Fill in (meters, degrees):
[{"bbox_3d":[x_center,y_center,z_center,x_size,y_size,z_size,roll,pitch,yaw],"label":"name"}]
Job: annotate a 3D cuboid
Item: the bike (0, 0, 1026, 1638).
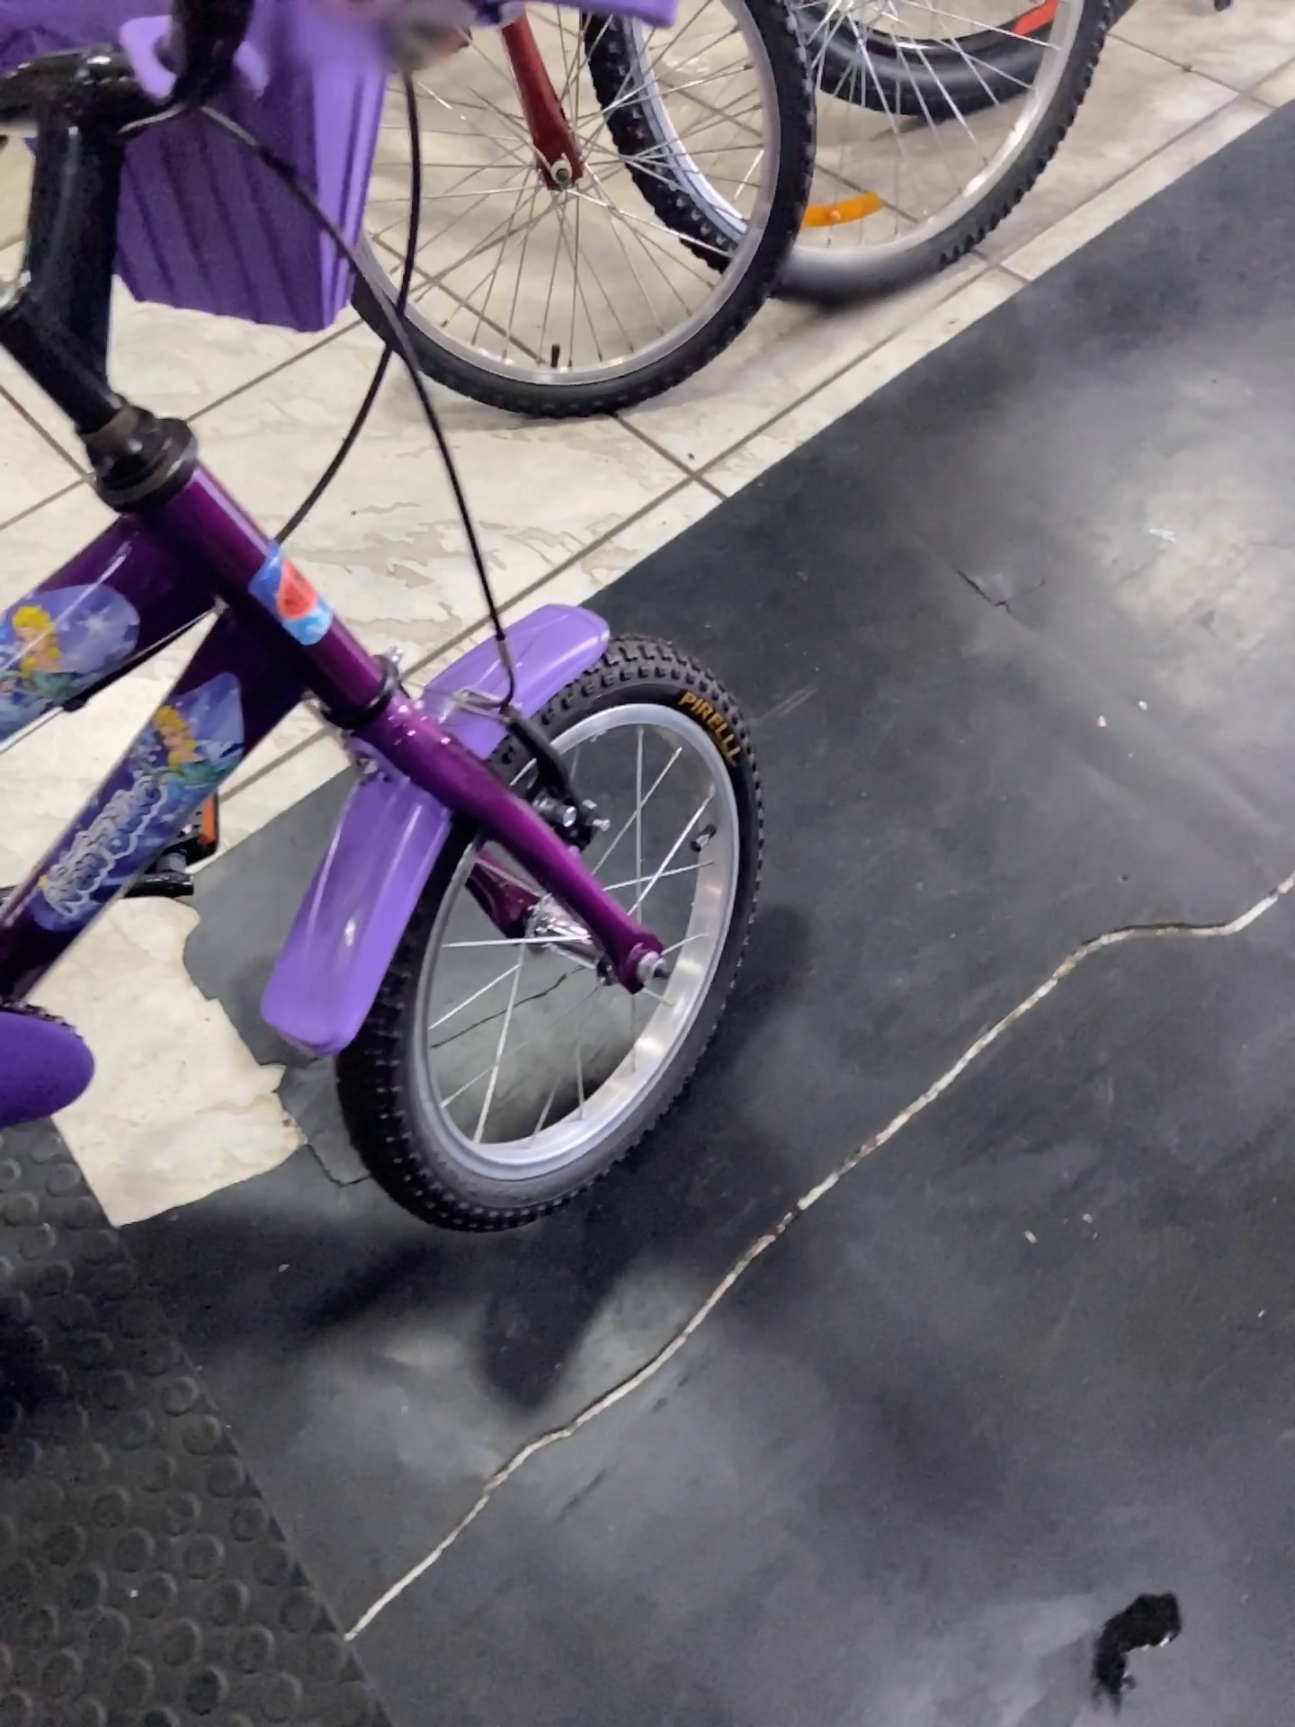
[{"bbox_3d":[-0.422,-0.028,0.673,0.971,0.743,0.449,-18,58,-4],"label":"bike"}]
